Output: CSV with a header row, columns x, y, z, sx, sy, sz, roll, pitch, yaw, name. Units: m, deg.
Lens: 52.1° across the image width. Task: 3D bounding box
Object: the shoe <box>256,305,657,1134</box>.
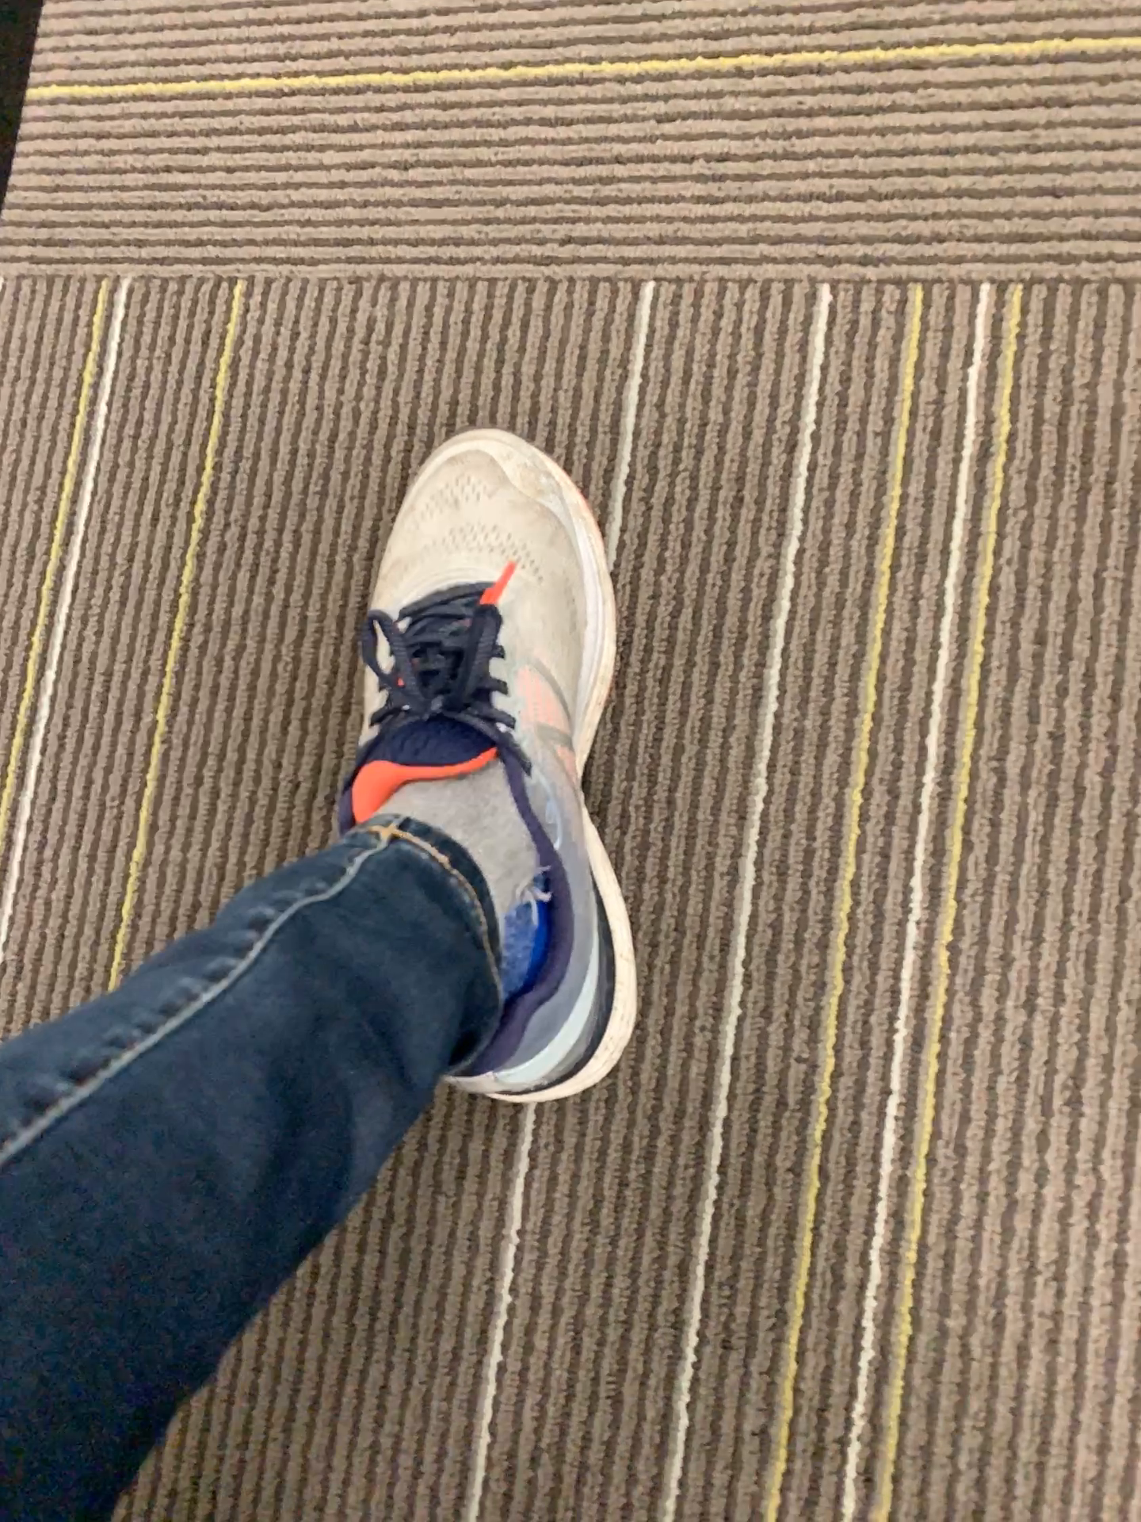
x,y,z,sx,sy,sz,roll,pitch,yaw,name
-0.041,-0.011,0.434,0.110,0.090,0.270,-6,81,14,shoe
